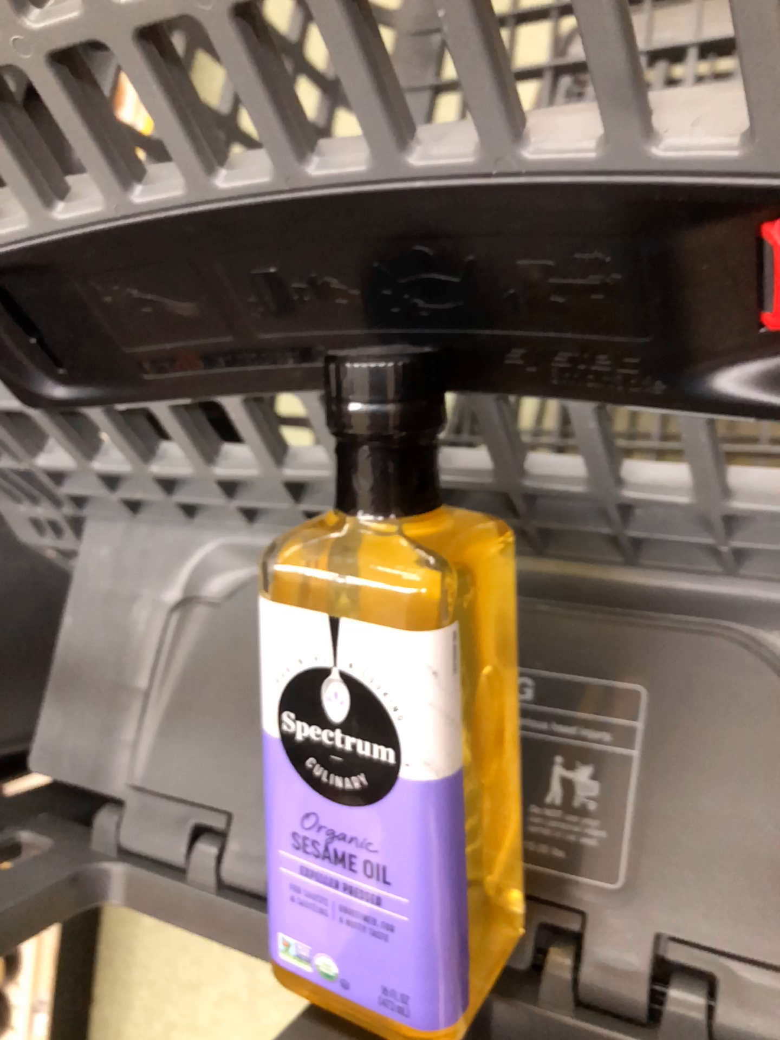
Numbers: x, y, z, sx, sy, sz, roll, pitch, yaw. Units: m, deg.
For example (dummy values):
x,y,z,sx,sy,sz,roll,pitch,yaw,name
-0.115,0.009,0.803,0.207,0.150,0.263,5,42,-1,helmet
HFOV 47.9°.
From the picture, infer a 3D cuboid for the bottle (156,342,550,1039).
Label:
x,y,z,sx,sy,sz,roll,pitch,yaw,name
-0.004,0.054,0.261,0.080,0.065,0.200,8,112,28,bottle
